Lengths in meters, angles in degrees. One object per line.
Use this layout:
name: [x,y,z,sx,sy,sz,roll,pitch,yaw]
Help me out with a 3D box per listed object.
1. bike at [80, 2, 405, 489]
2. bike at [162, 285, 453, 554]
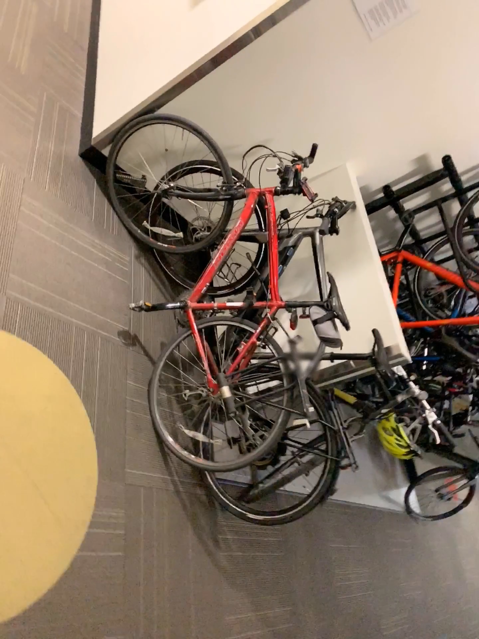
bike: [0.002,-0.204,2.186,0.605,0.928,1.612,0,74,-62]
bike: [0.322,0.488,2.204,0.695,1.150,0.726,3,72,-61]
